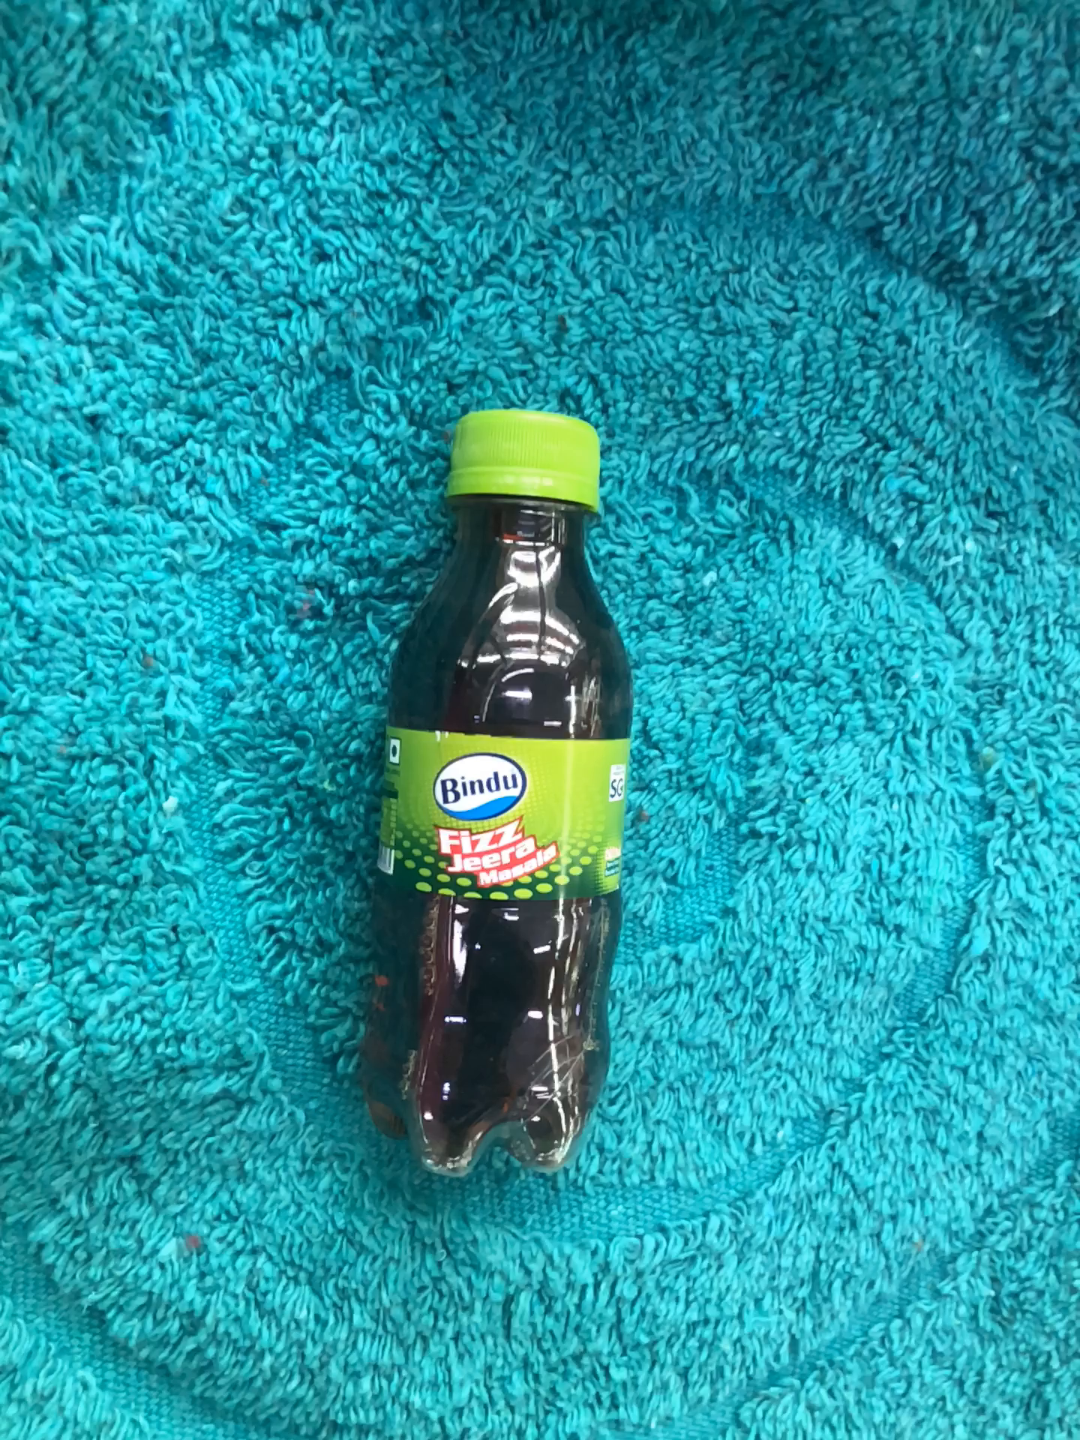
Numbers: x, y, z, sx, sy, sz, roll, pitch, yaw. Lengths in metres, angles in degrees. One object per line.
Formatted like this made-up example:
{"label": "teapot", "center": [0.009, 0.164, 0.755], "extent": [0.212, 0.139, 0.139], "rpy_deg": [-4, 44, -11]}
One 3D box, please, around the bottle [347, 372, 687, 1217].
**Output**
{"label": "bottle", "center": [-0.008, 0.014, 0.238], "extent": [0.050, 0.050, 0.150], "rpy_deg": [3, 97, -8]}
